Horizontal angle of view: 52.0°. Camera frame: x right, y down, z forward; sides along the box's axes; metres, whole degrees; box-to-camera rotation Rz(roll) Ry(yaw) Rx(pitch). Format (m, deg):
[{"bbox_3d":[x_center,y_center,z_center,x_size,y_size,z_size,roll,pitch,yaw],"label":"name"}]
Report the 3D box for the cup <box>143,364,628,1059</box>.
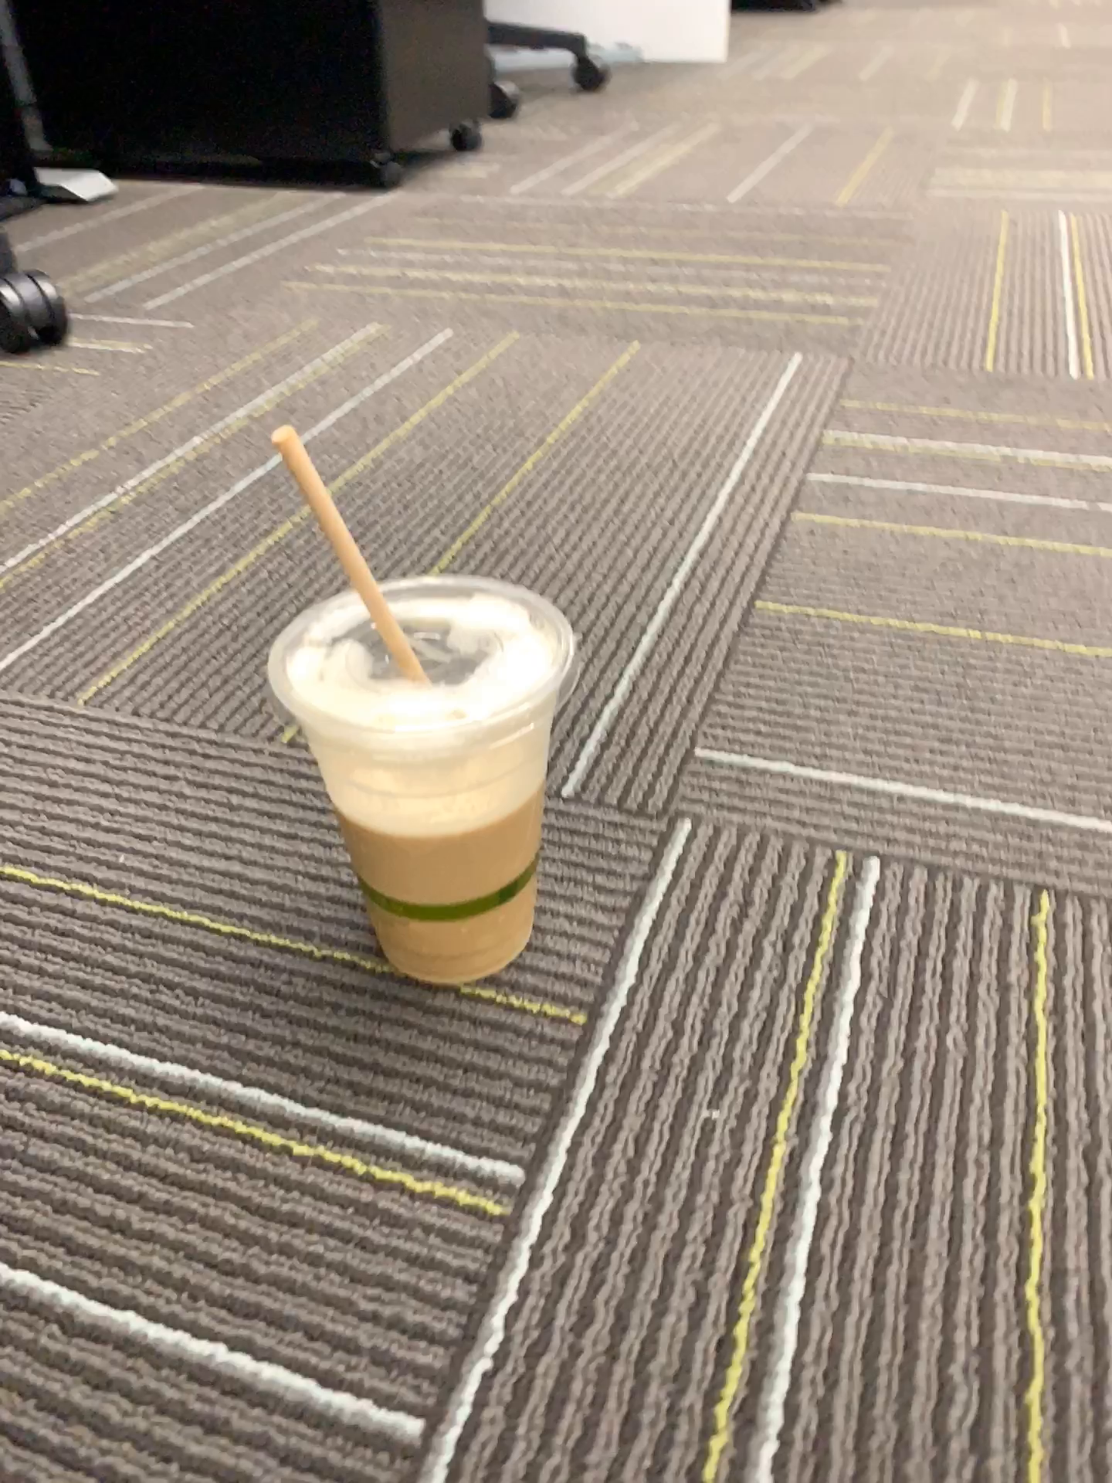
[{"bbox_3d":[-0.044,-0.010,0.368,0.100,0.179,0.090,-30,44,-32],"label":"cup"}]
